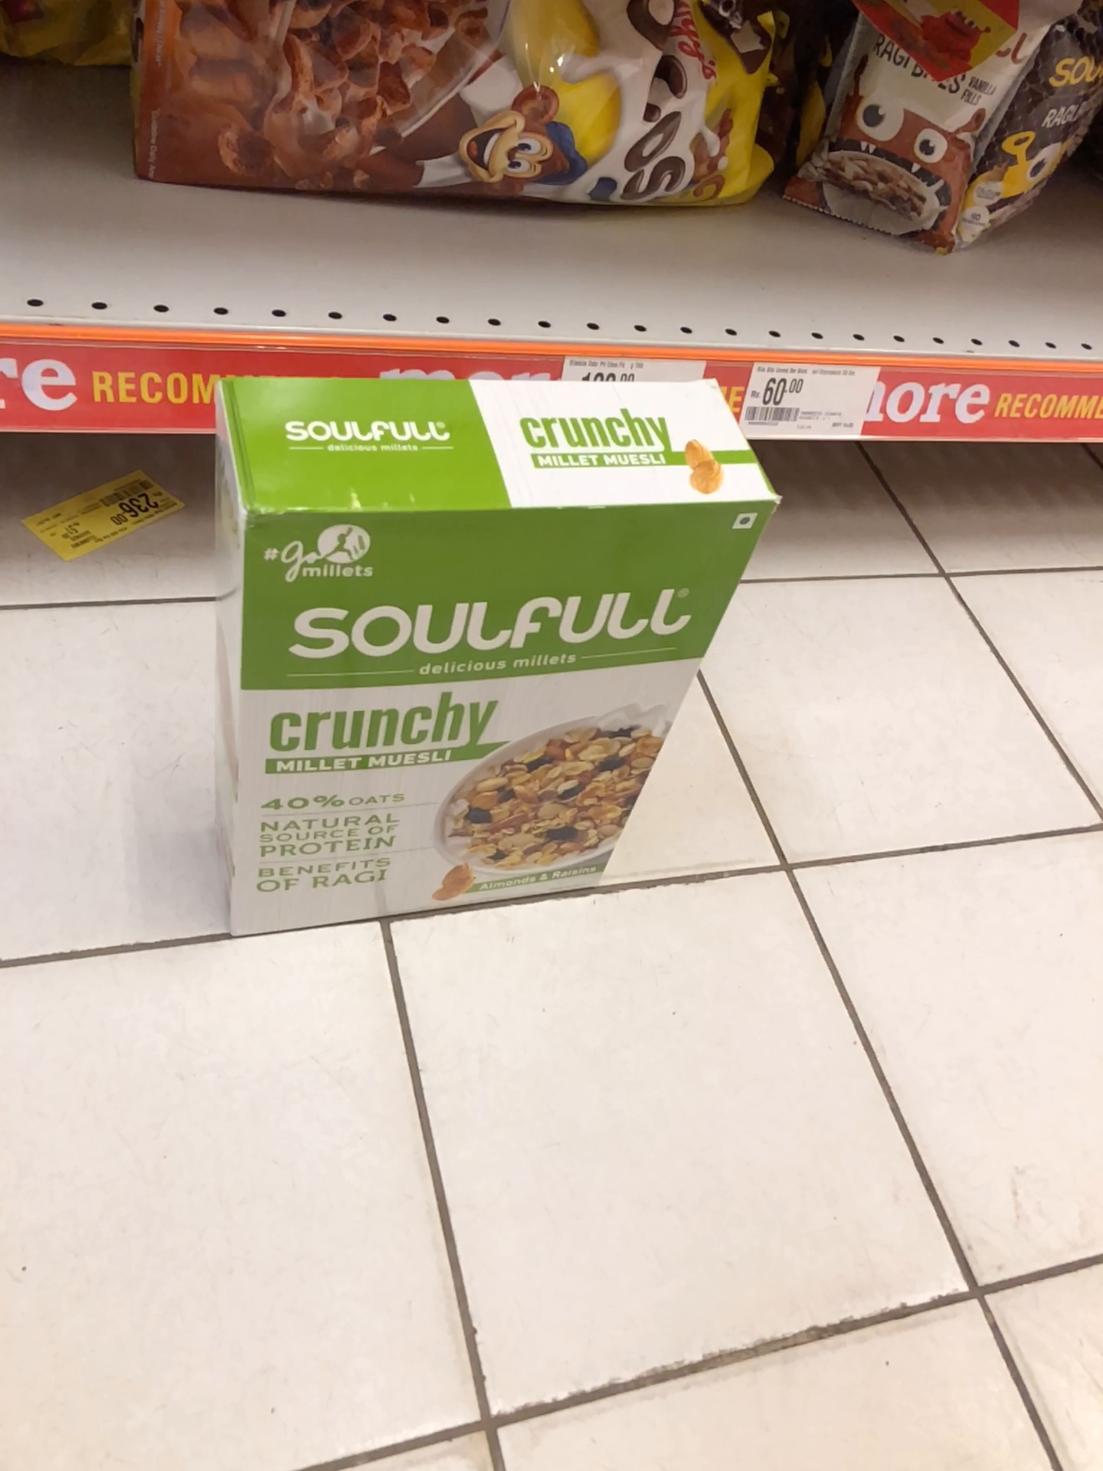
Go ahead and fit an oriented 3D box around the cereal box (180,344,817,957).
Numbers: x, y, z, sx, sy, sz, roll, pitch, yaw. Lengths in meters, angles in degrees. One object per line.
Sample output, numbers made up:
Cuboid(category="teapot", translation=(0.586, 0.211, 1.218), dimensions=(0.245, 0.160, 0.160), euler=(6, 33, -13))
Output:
Cuboid(category="cereal box", translation=(-0.037, -0.018, 0.443), dimensions=(0.180, 0.238, 0.060), euler=(-5, 52, -19))
